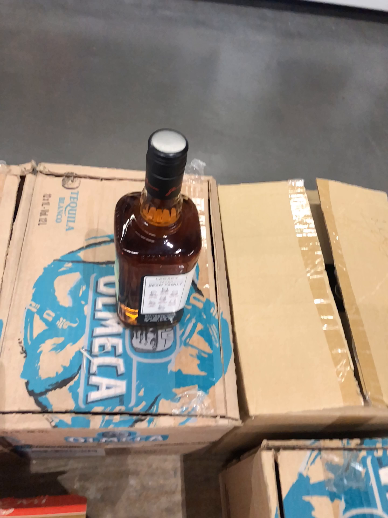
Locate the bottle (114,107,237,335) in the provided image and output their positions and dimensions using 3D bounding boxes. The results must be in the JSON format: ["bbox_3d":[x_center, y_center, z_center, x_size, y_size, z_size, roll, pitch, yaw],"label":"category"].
[{"bbox_3d":[-0.034,-0.015,0.430,0.086,0.259,0.090,4,58,-7],"label":"bottle"}]
